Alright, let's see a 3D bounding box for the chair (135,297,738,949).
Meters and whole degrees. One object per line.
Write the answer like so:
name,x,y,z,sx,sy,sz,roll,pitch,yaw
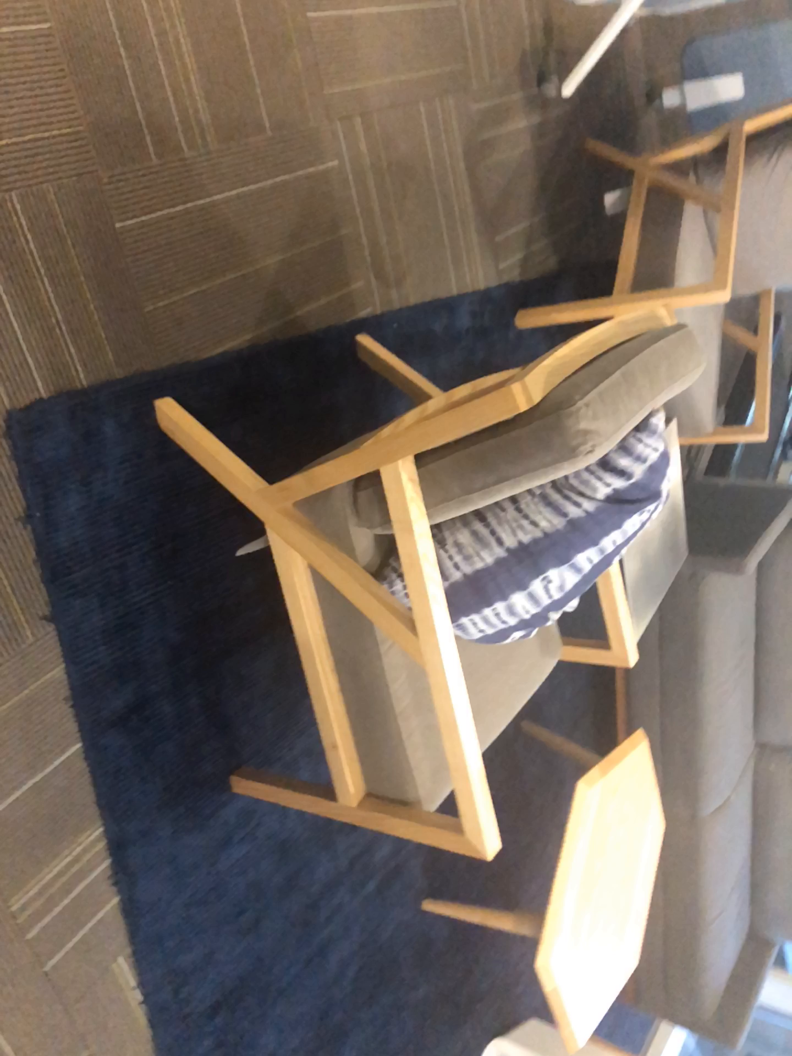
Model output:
chair,0.135,0.071,1.594,0.676,0.774,0.830,-32,120,-50
